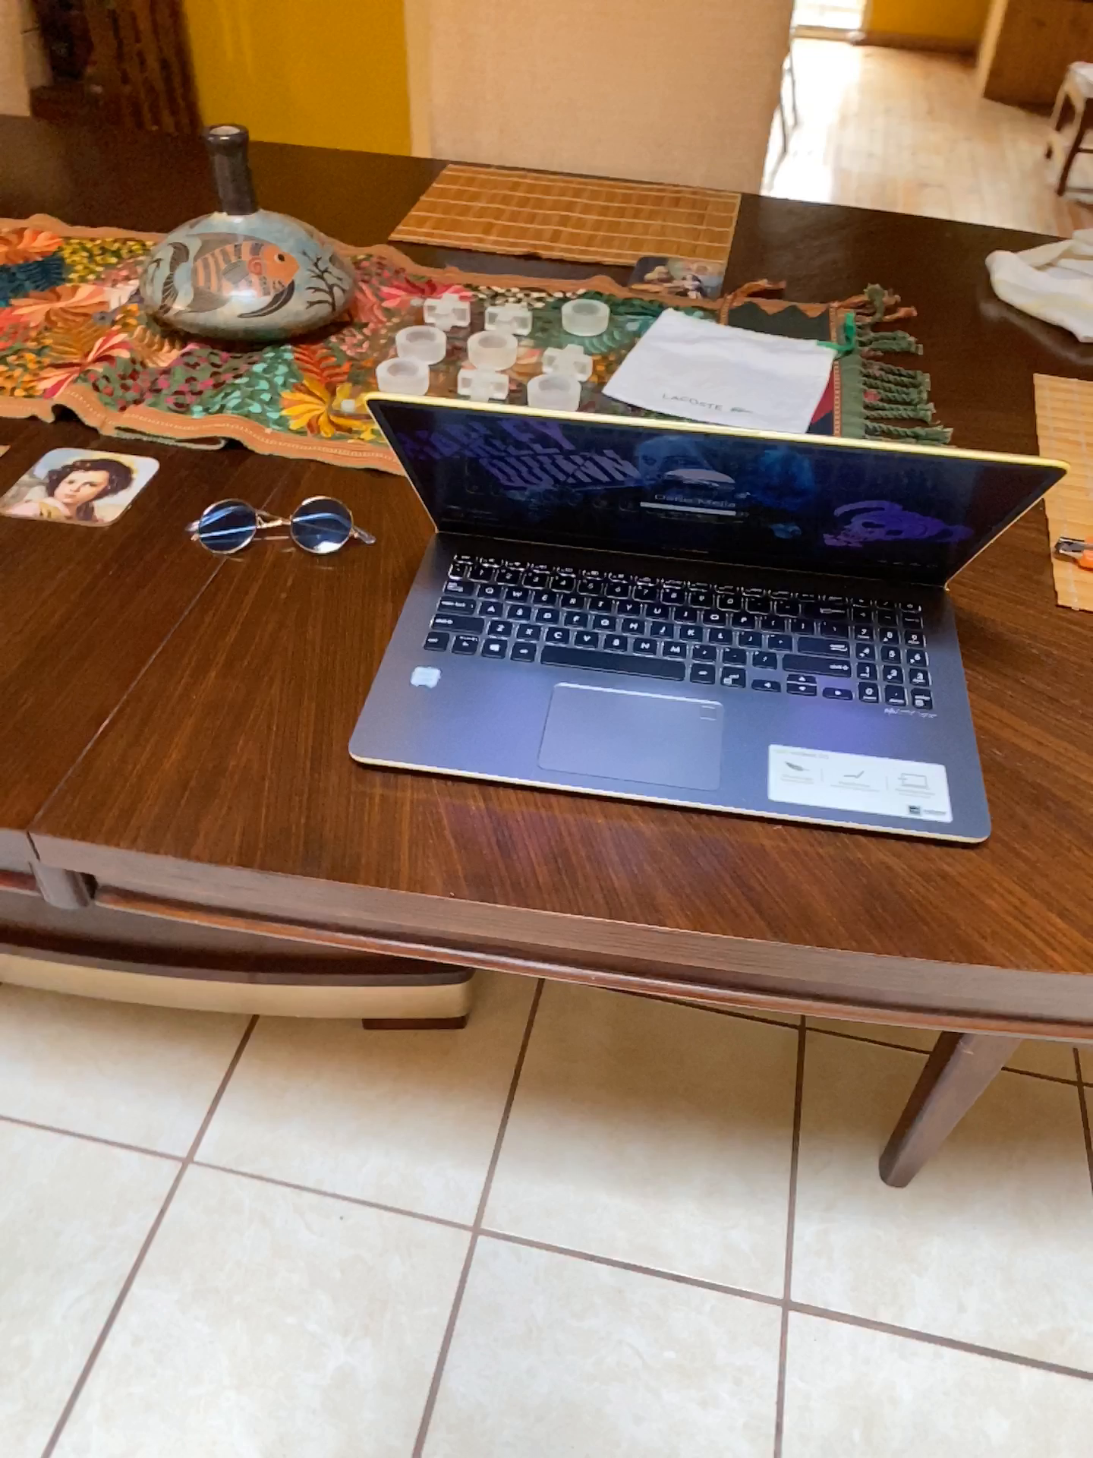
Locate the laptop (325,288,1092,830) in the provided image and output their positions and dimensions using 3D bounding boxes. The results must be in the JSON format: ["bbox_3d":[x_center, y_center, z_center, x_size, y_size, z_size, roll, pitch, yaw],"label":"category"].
[{"bbox_3d":[0.093,-0.115,0.686,0.376,0.181,0.251,7,44,4],"label":"laptop"}]
